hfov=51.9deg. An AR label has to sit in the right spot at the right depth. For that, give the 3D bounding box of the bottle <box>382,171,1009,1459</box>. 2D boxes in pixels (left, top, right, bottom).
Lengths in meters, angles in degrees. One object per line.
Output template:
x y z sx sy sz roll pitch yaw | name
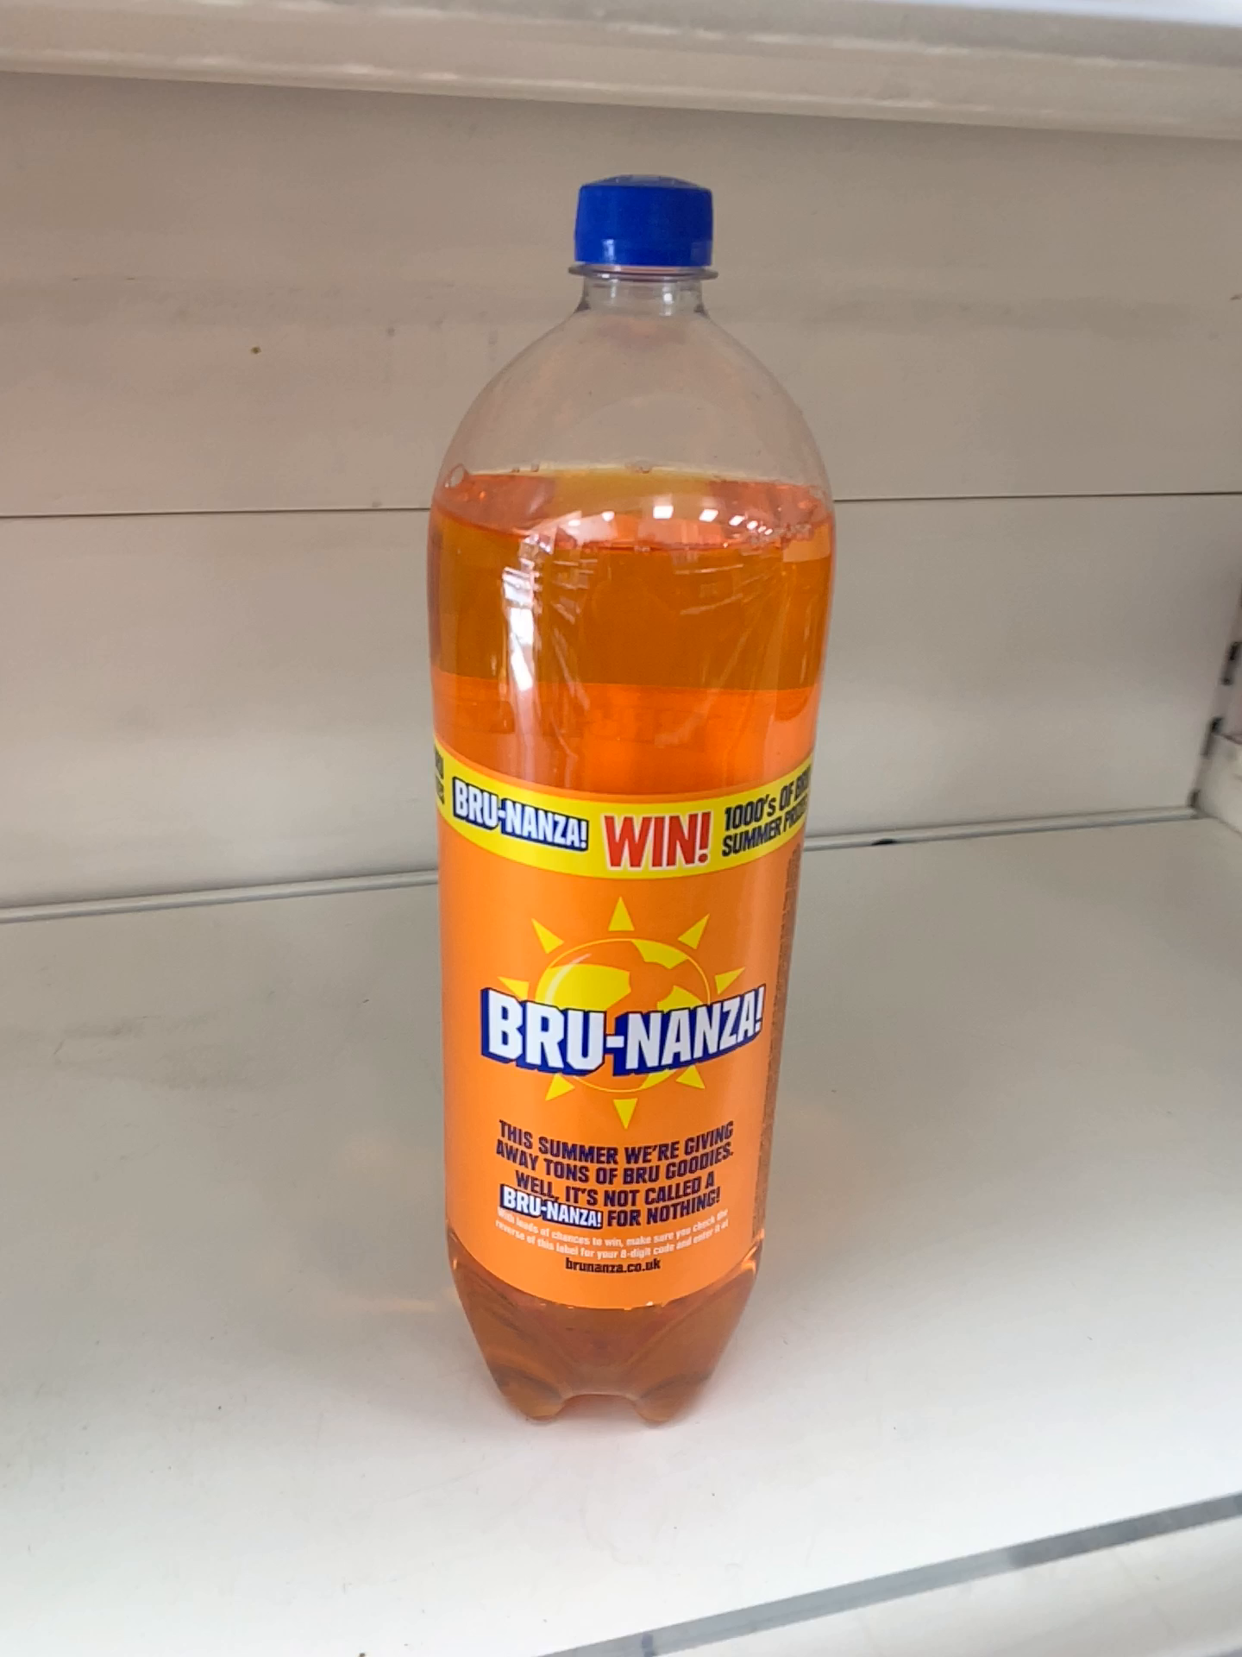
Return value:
0.008 0.008 0.346 0.110 0.327 0.111 2 27 -1 | bottle
